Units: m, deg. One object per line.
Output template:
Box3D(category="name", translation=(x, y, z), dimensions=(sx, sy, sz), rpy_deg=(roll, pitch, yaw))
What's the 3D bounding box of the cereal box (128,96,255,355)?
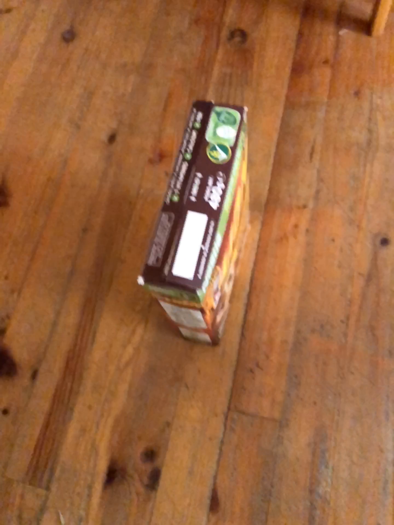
Box3D(category="cereal box", translation=(0.016, -0.017, 0.521), dimensions=(0.060, 0.280, 0.200), rpy_deg=(12, 71, 12))
